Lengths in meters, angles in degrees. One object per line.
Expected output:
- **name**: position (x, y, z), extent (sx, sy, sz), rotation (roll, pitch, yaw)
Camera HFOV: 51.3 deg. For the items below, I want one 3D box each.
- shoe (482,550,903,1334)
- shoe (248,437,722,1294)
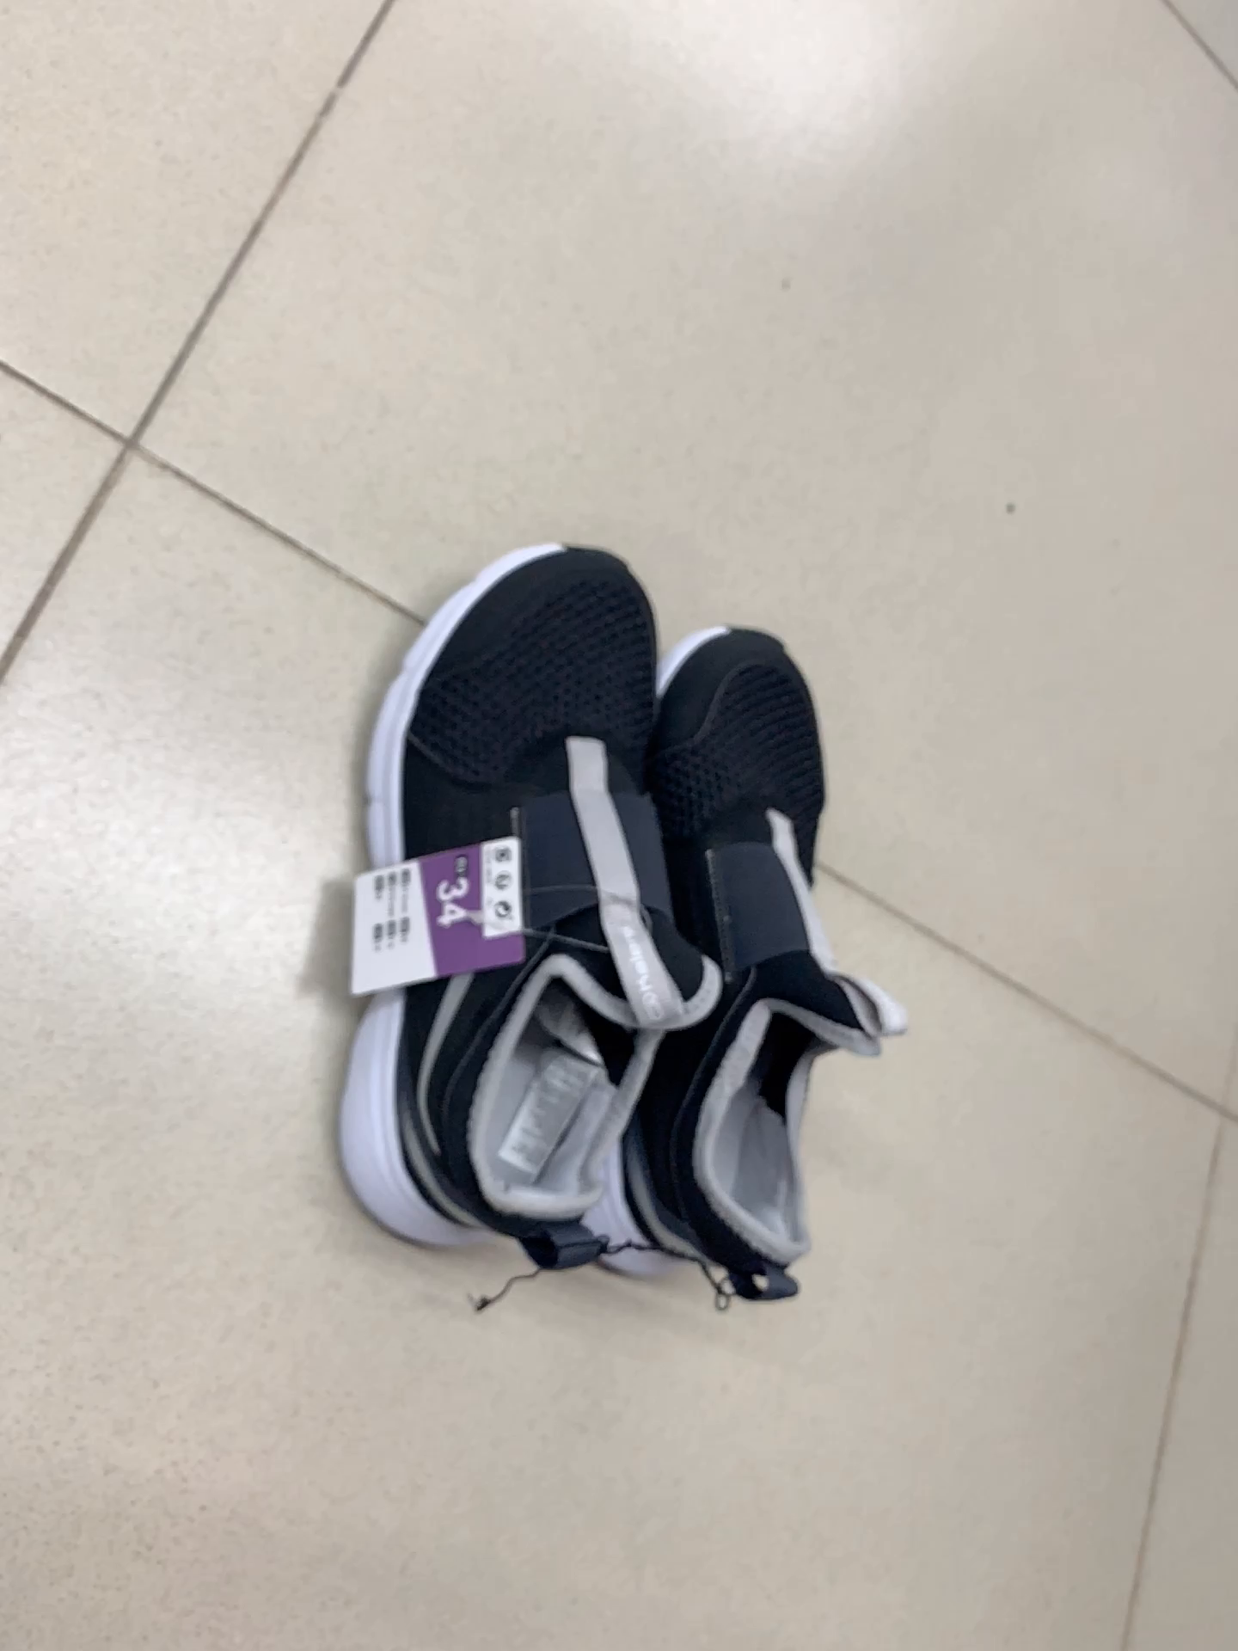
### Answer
- **shoe**: position (0.029, 0.042, 0.467), extent (0.090, 0.080, 0.250), rotation (16, 75, -29)
- **shoe**: position (-0.042, 0.015, 0.429), extent (0.090, 0.080, 0.250), rotation (16, 75, -29)
